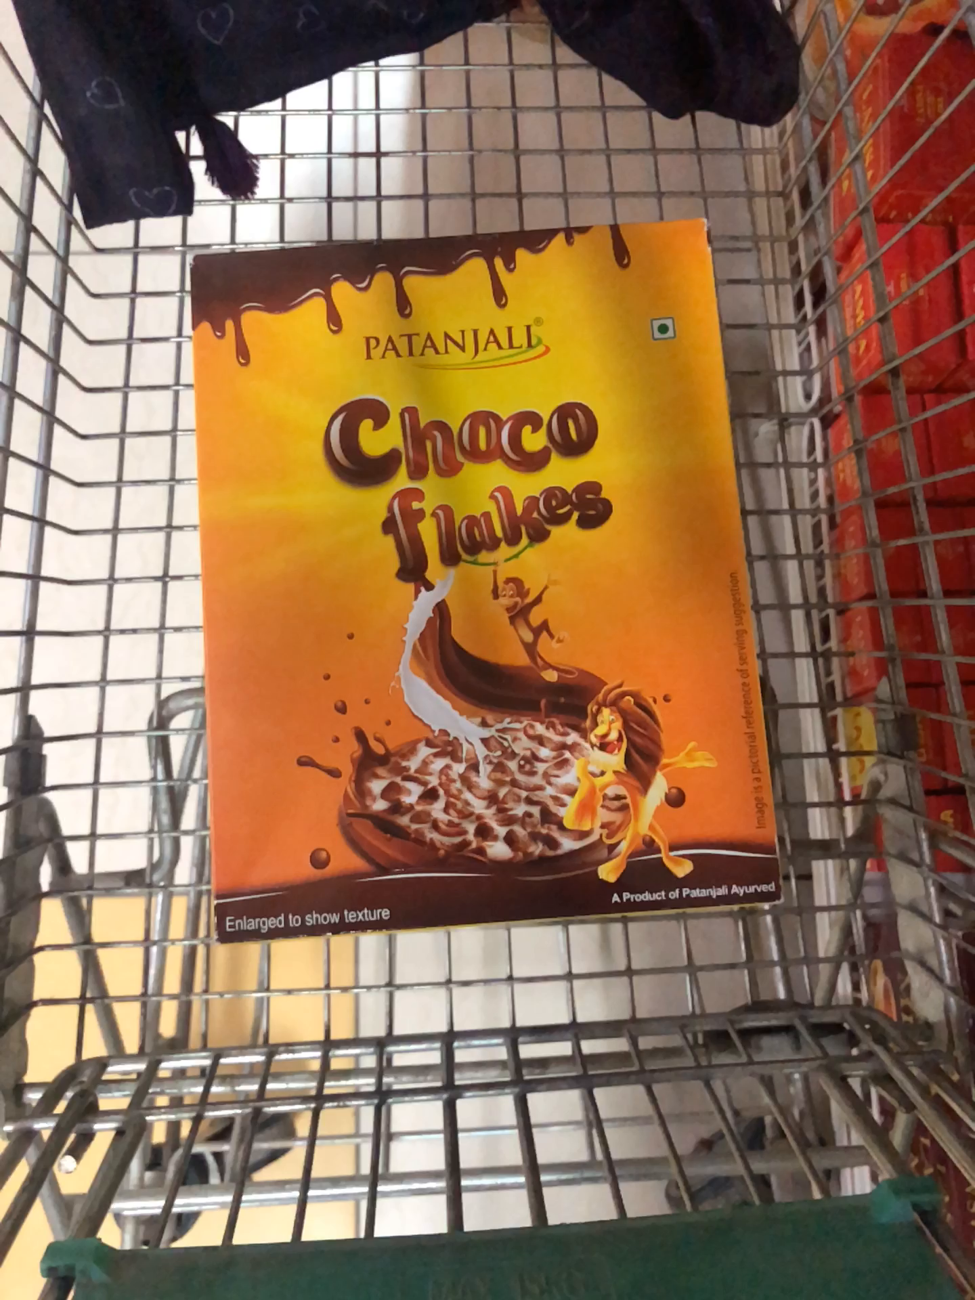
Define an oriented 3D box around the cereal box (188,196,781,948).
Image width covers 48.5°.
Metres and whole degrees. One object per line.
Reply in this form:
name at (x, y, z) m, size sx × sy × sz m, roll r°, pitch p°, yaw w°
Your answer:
cereal box at (-0.006, -0.023, 0.395) m, size 0.170 × 0.110 × 0.230 m, roll -4°, pitch 81°, yaw -1°
